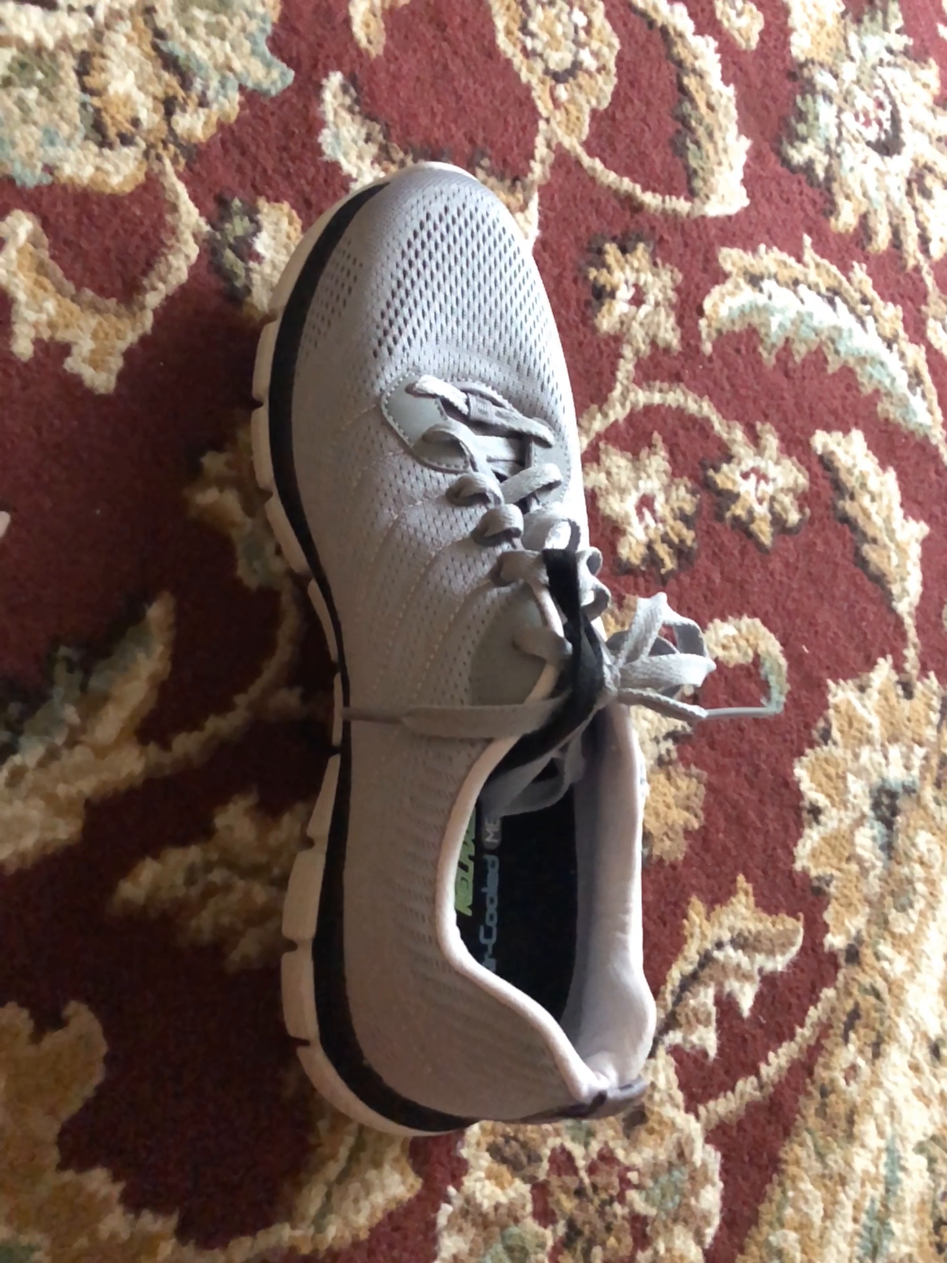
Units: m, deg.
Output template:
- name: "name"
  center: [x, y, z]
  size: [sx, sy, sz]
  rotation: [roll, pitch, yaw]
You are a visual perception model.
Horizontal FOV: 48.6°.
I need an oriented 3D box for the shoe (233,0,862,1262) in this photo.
- name: "shoe"
  center: [0.007, -0.010, 0.294]
  size: [0.100, 0.130, 0.300]
  rotation: [7, 75, -30]
